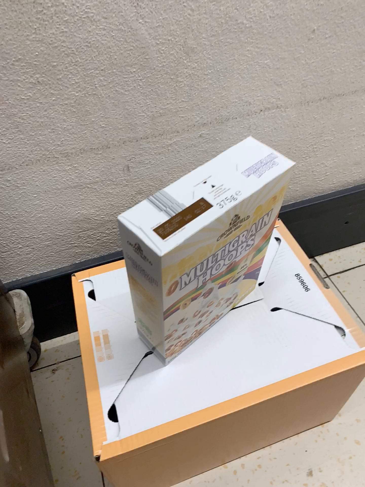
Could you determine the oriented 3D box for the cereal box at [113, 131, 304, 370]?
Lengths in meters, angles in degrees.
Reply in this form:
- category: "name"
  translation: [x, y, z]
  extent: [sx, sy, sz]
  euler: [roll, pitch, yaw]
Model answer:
- category: "cereal box"
  translation: [0.030, 0.020, 0.467]
  extent: [0.201, 0.248, 0.070]
  euler: [-35, 60, -26]
